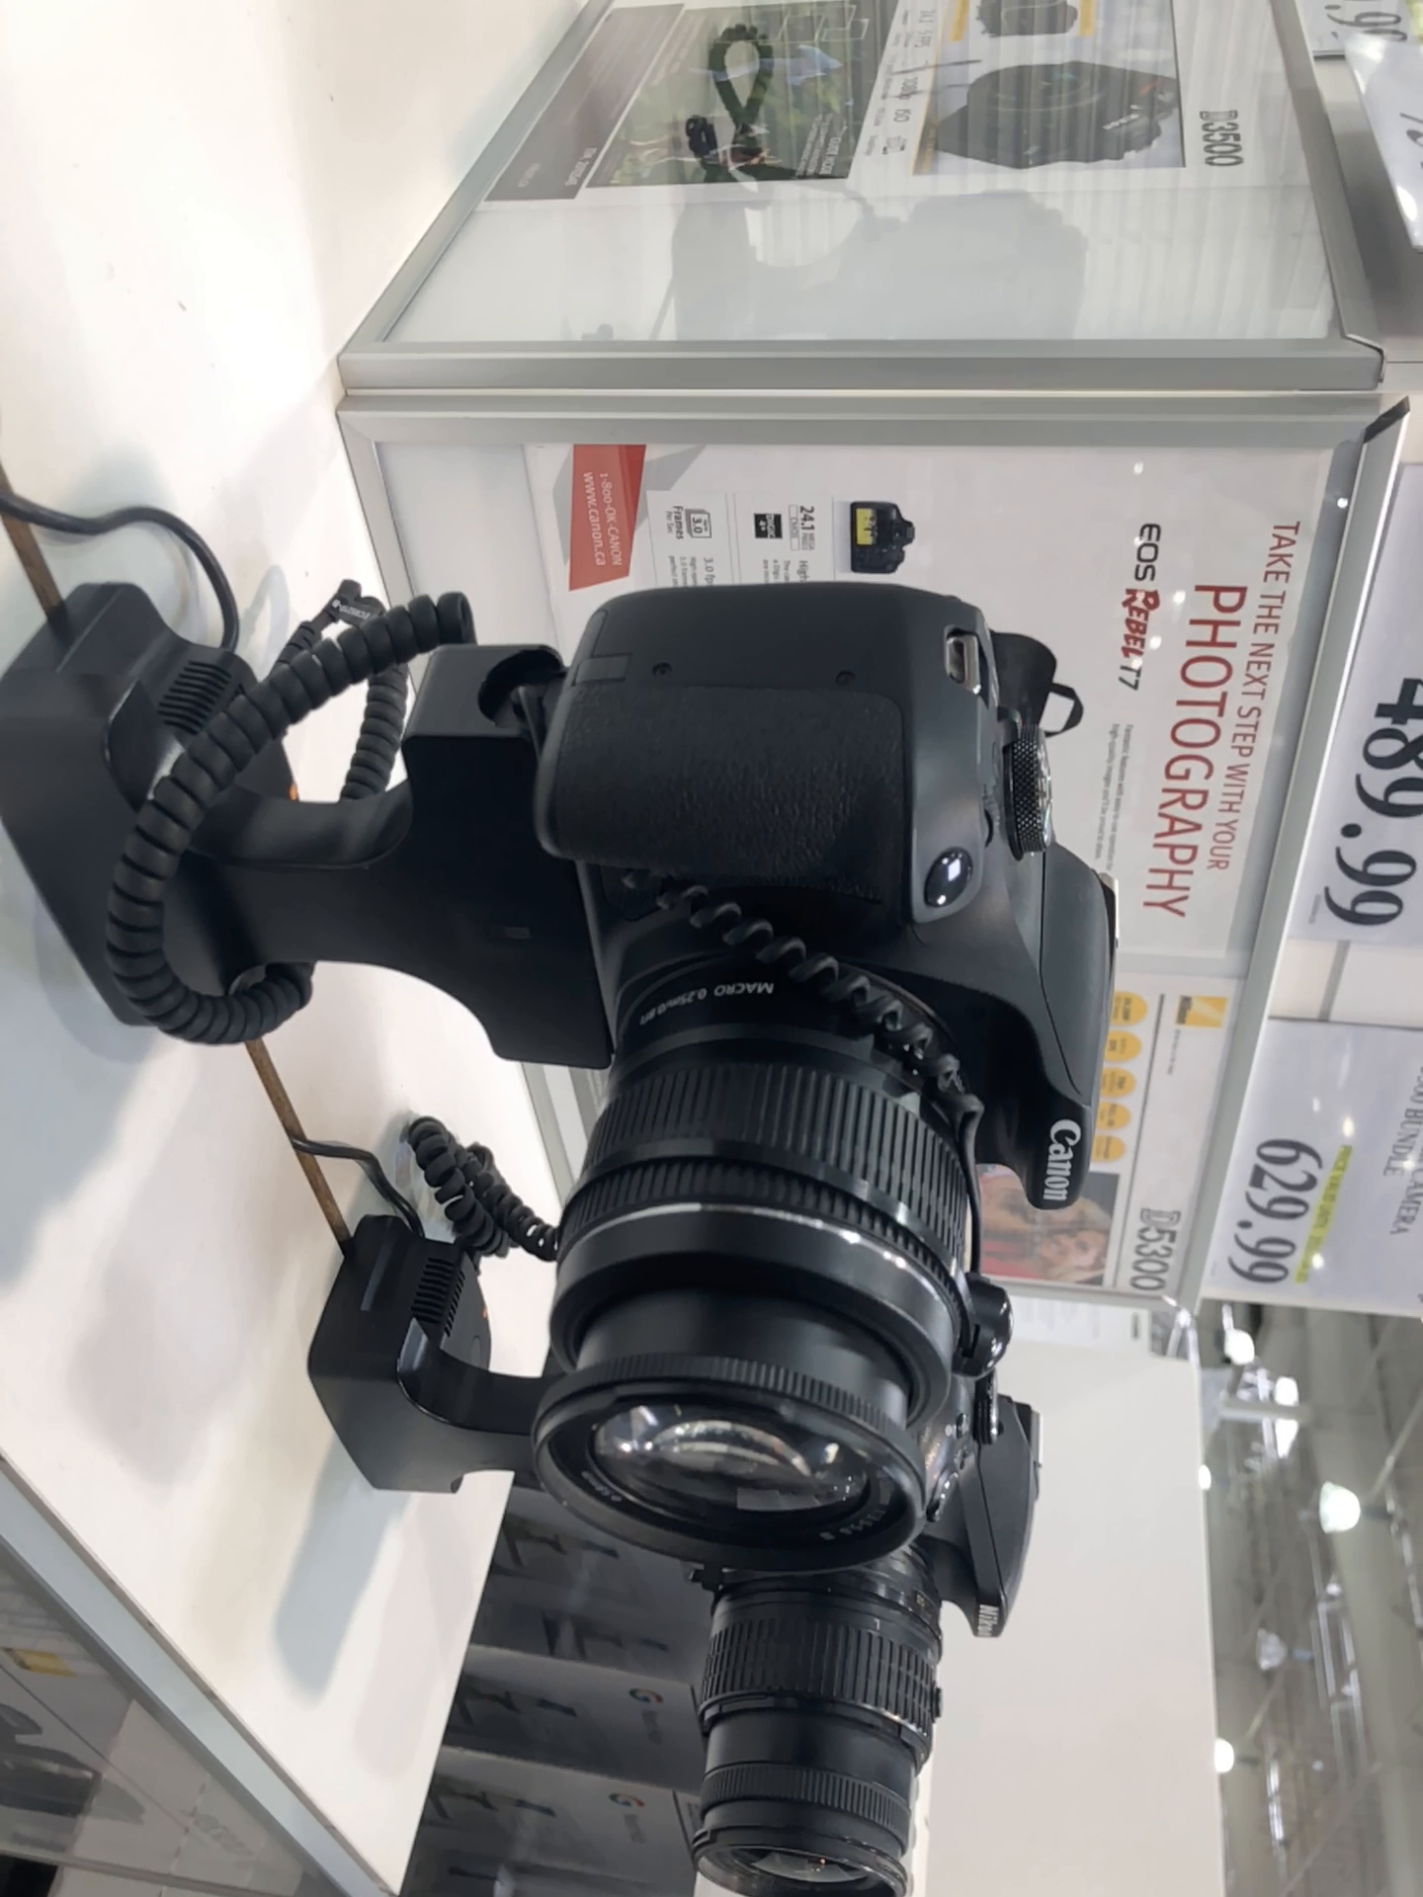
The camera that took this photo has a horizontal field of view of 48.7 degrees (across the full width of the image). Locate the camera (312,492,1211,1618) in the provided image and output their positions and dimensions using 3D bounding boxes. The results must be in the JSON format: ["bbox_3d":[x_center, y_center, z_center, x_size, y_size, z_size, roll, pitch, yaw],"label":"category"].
[{"bbox_3d":[0.021,0.017,0.287,0.130,0.110,0.150,83,14,-49],"label":"camera"}]
